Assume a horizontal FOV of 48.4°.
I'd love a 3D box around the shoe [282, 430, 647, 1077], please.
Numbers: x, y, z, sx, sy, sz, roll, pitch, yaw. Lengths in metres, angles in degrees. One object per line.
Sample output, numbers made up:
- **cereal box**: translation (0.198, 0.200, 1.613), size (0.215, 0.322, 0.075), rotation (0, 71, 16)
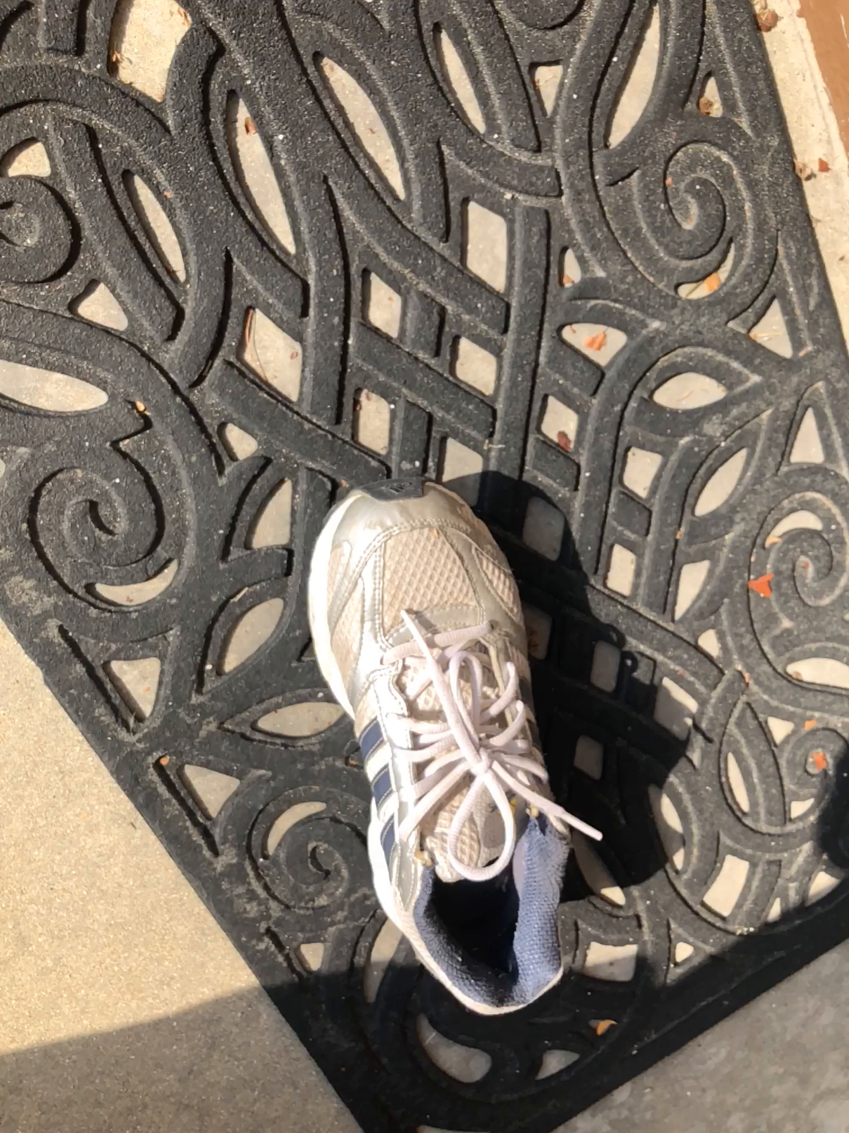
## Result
- **shoe**: translation (0.018, 0.079, 0.459), size (0.110, 0.129, 0.261), rotation (-12, 107, -13)
